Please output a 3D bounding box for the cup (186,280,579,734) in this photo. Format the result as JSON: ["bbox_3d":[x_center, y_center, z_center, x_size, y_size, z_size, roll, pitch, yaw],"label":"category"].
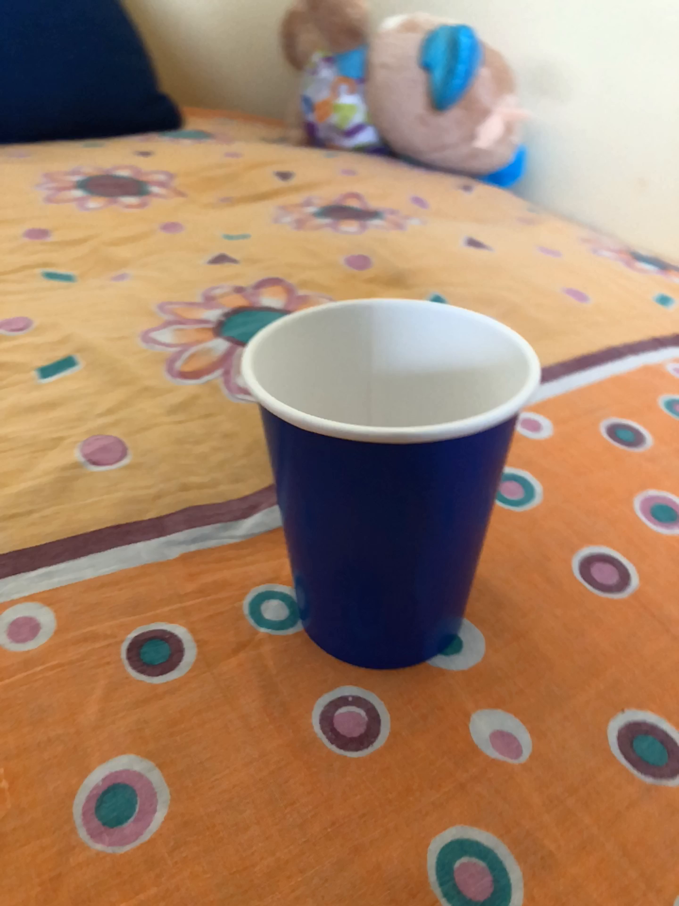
[{"bbox_3d":[0.018,0.009,0.225,0.080,0.090,0.080,-2,32,1],"label":"cup"}]
